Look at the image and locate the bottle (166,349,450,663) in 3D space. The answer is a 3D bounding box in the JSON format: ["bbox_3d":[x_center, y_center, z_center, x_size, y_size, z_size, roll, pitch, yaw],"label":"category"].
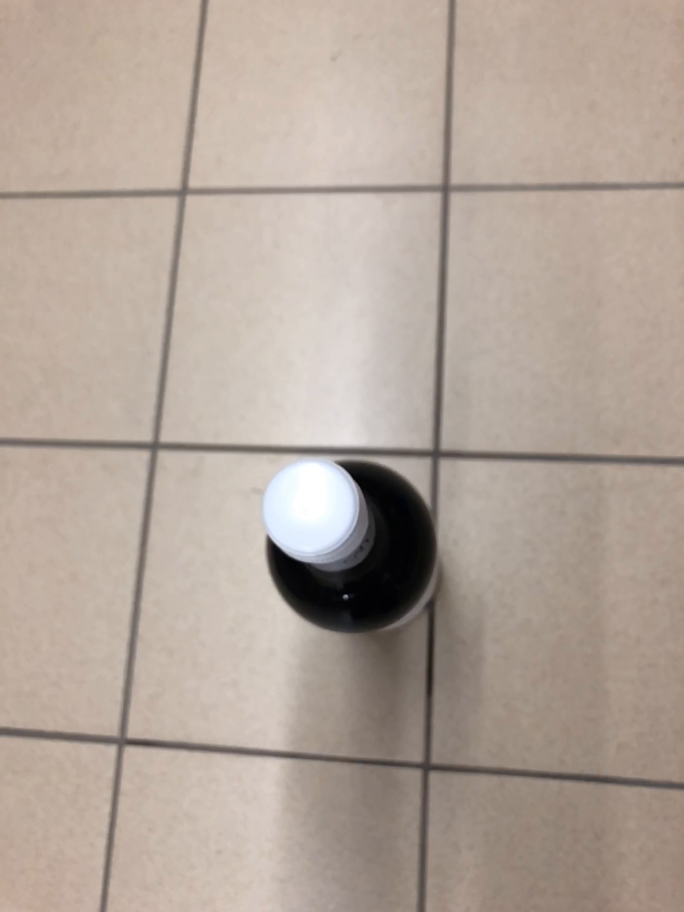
[{"bbox_3d":[0.008,0.044,0.364,0.080,0.290,0.090,-1,77,7],"label":"bottle"}]
